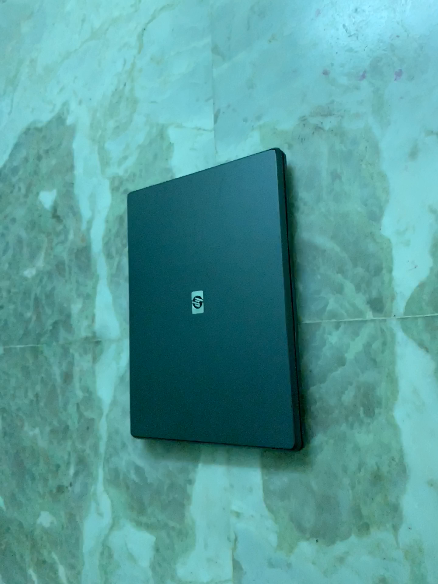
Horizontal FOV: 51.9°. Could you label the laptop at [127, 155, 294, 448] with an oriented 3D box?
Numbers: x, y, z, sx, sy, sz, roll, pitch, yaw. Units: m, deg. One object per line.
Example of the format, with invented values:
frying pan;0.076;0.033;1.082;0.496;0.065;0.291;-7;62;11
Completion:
laptop;-0.026;0.015;0.538;0.227;0.001;0.310;-7;82;35
